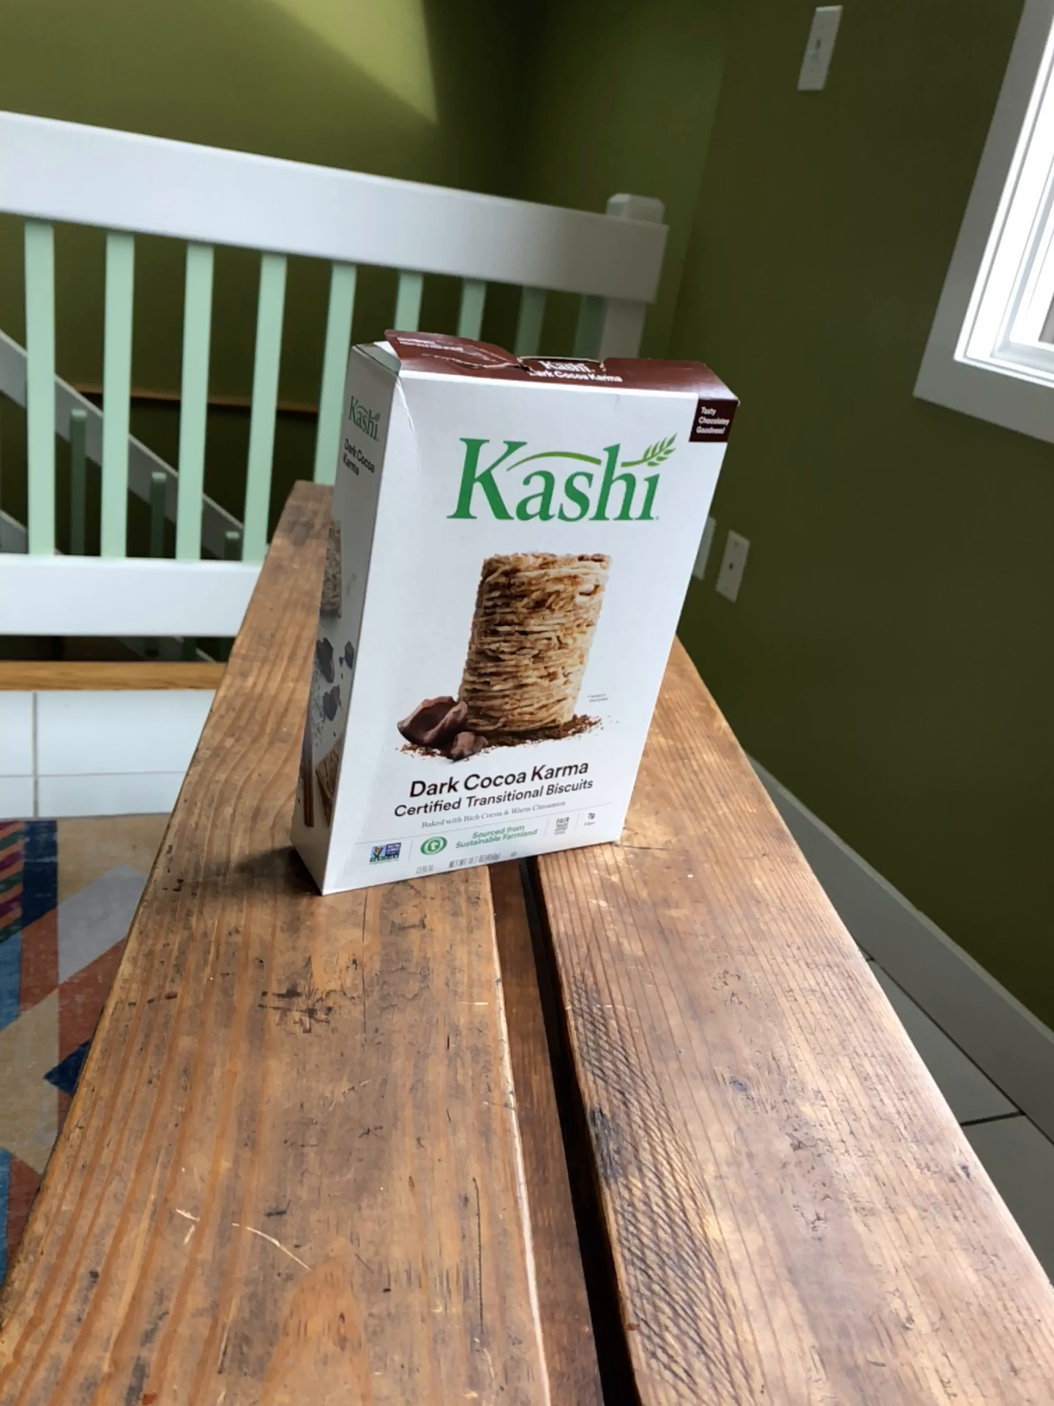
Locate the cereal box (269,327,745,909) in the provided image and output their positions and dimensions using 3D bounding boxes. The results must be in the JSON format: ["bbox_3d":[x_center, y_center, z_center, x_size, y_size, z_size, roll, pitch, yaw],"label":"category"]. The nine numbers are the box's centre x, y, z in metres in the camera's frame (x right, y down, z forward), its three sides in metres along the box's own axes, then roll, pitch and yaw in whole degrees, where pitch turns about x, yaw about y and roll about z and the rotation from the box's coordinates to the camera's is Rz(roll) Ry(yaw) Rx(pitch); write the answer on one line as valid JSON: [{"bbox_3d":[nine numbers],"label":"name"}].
[{"bbox_3d":[-0.017,-0.040,0.609,0.201,0.278,0.060,-6,32,-32],"label":"cereal box"}]
